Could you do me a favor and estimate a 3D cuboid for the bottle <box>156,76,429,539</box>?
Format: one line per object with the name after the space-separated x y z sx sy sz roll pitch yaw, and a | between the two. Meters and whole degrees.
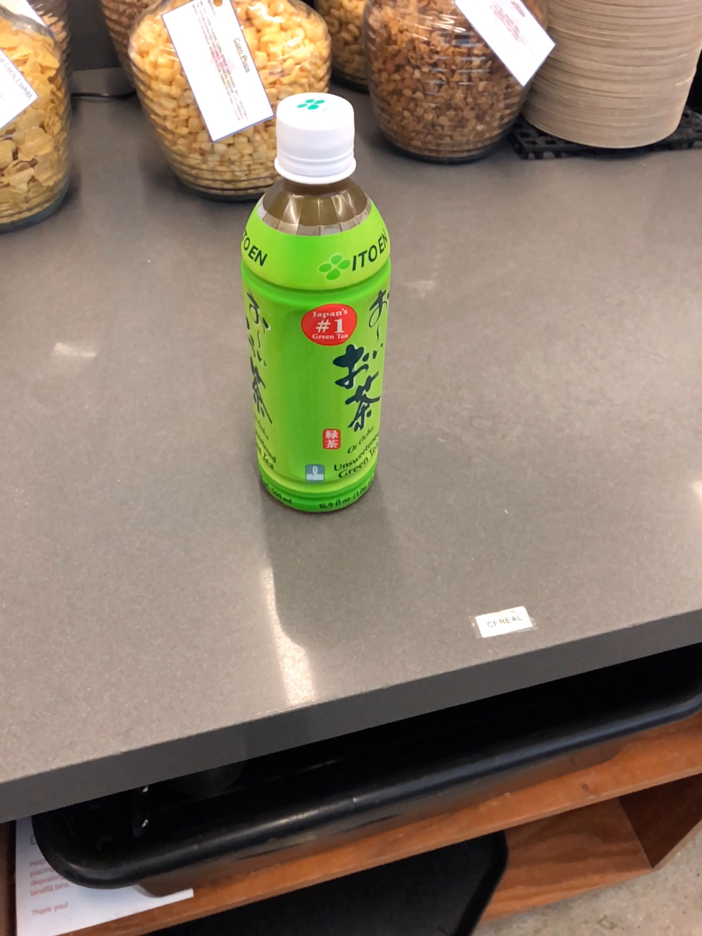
-0.021 -0.065 0.368 0.080 0.189 0.080 1 47 -1 | bottle
